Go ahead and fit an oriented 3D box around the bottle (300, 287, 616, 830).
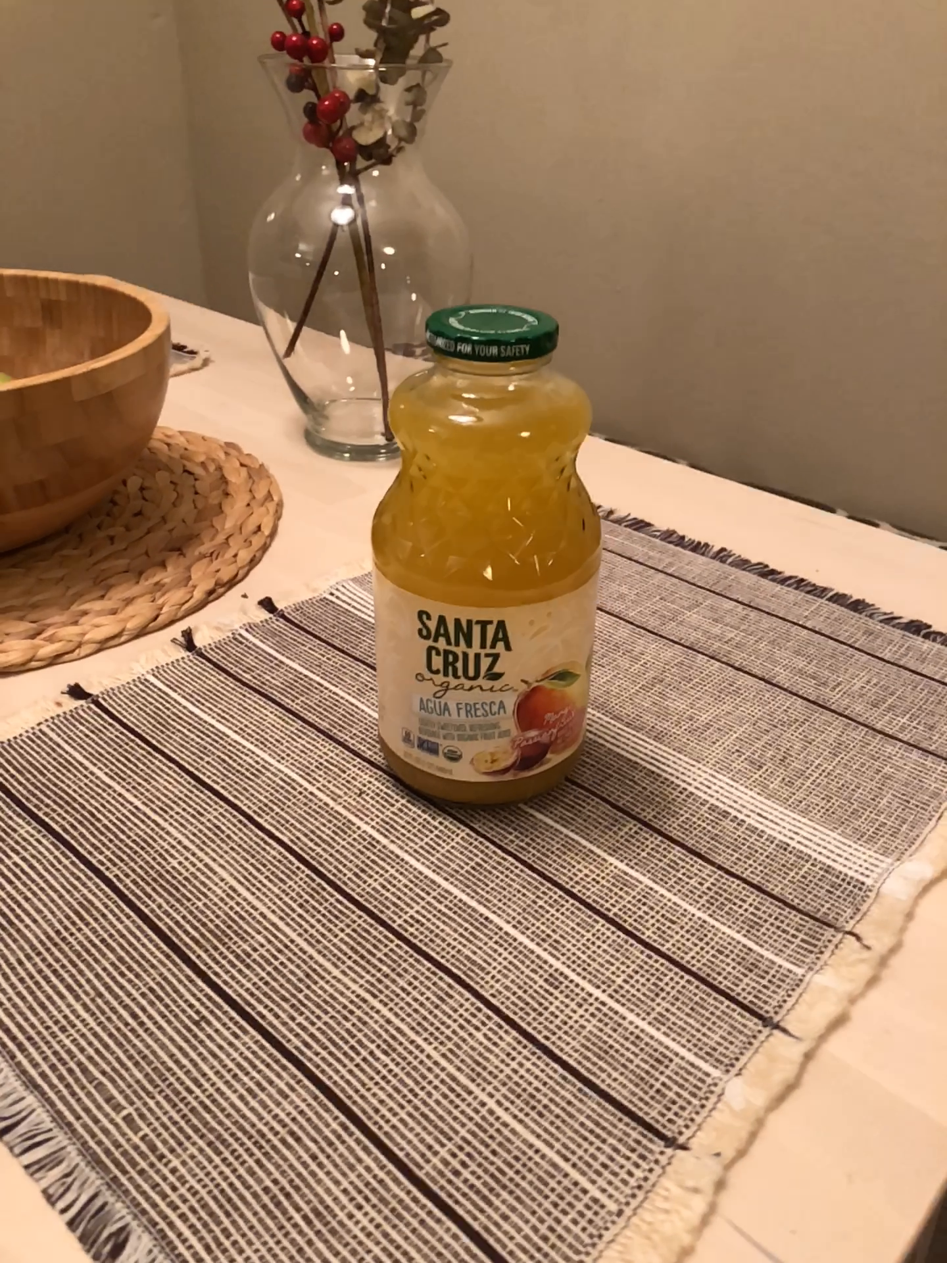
[{"bbox_3d":[-0.002,-0.030,0.429,0.100,0.189,0.101,1,30,-1],"label":"bottle"}]
